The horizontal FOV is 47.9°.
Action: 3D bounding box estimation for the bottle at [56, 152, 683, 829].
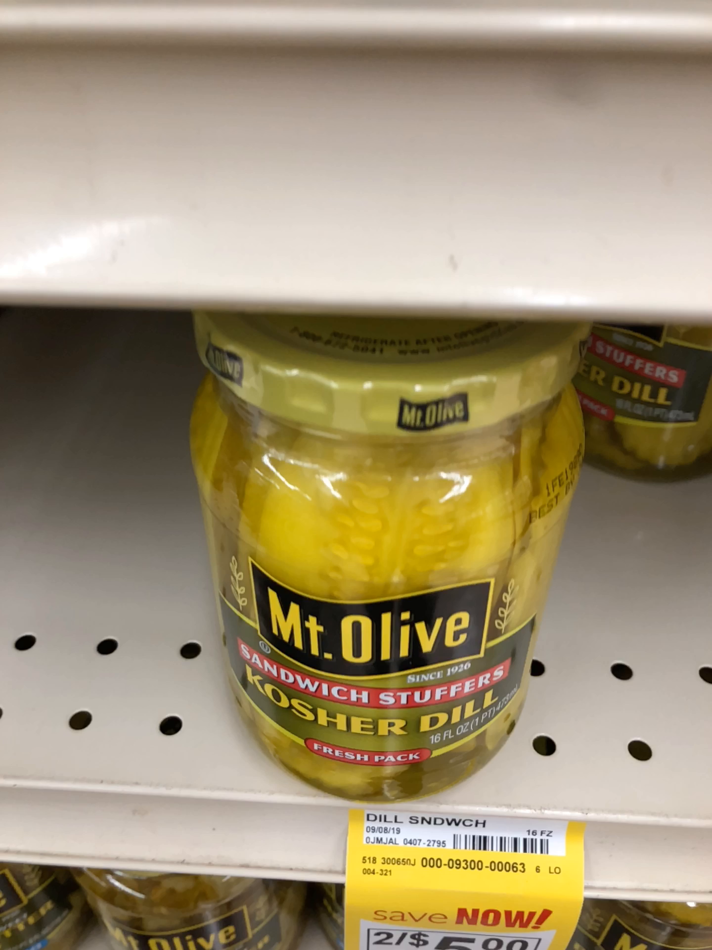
[{"bbox_3d":[0.005,0.007,0.187,0.090,0.130,0.080,5,41,5],"label":"bottle"}]
